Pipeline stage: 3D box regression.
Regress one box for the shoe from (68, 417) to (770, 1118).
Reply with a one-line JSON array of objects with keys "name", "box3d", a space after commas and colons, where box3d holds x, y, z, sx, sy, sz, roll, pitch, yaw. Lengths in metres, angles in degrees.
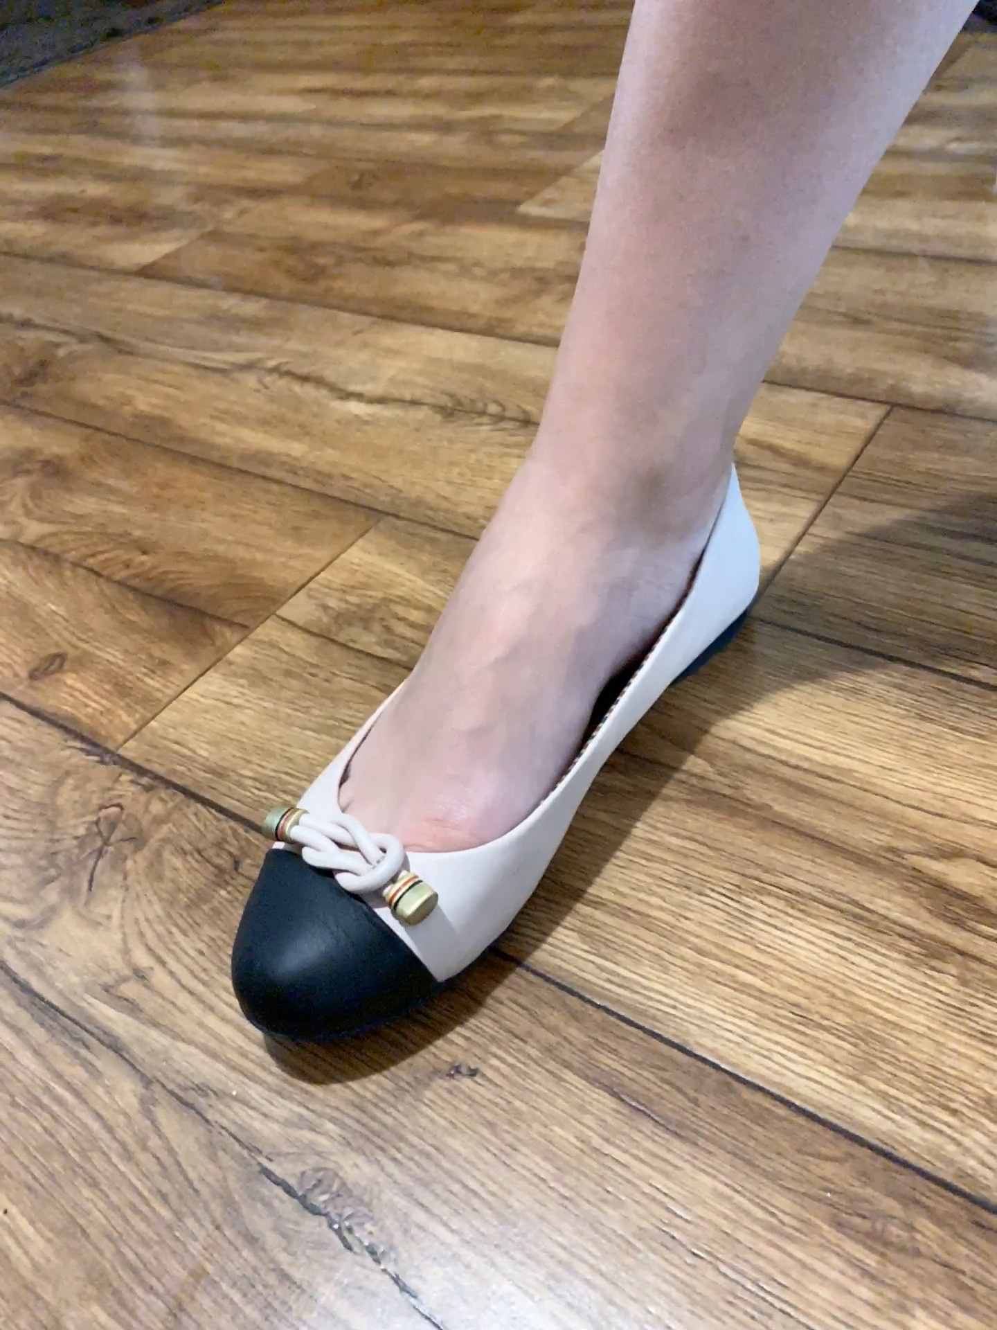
[{"name": "shoe", "box3d": [-0.006, 0.011, 0.316, 0.084, 0.059, 0.220, 22, 51, 31]}]
